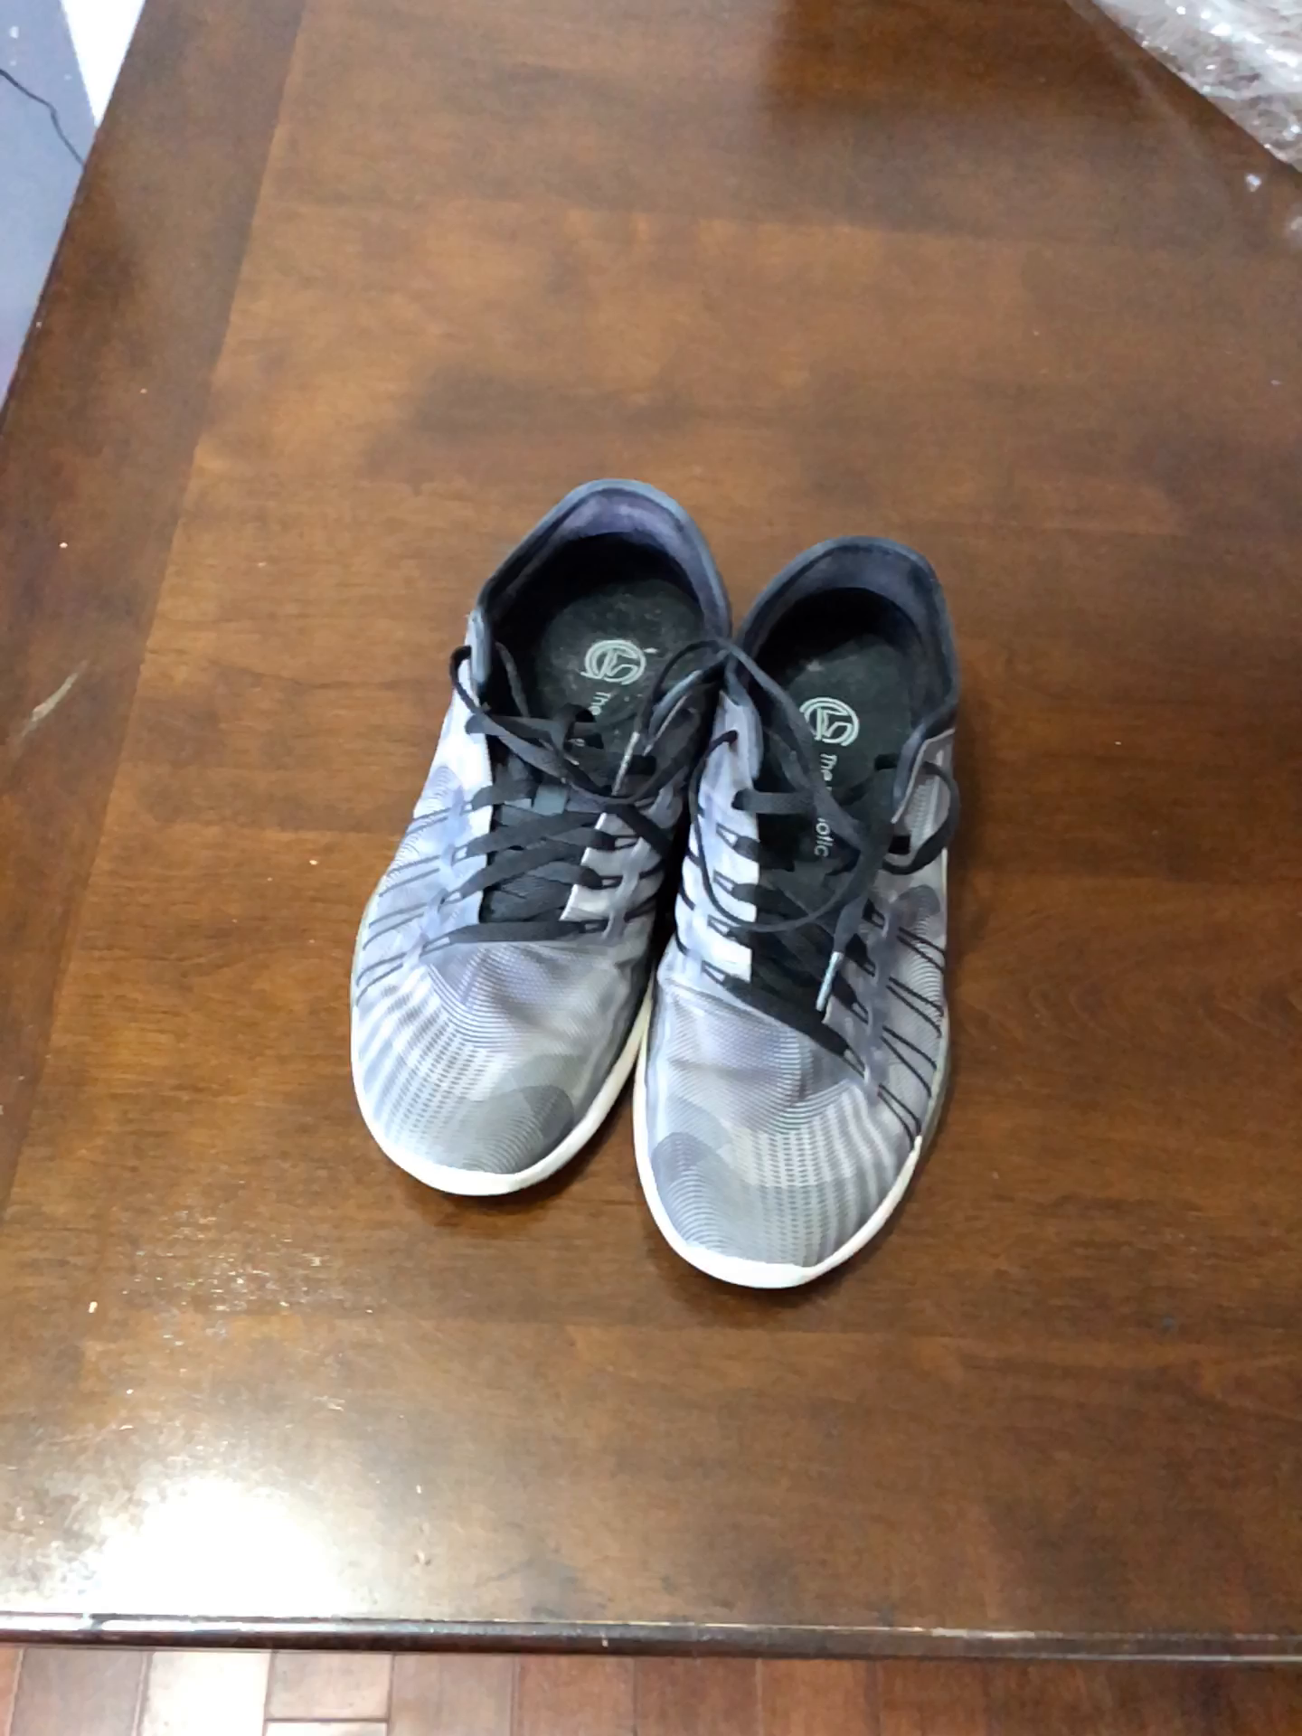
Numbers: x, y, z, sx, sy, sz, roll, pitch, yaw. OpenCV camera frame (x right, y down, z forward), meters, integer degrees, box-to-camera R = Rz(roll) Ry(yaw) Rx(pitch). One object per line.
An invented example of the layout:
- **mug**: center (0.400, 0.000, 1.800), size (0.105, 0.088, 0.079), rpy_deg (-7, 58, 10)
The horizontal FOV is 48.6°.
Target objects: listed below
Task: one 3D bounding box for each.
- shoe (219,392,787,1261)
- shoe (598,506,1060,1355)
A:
- **shoe**: center (-0.032, -0.019, 0.427), size (0.100, 0.090, 0.230), rpy_deg (11, 60, 2)
- **shoe**: center (0.057, 0.011, 0.433), size (0.100, 0.080, 0.230), rpy_deg (11, 60, 2)
